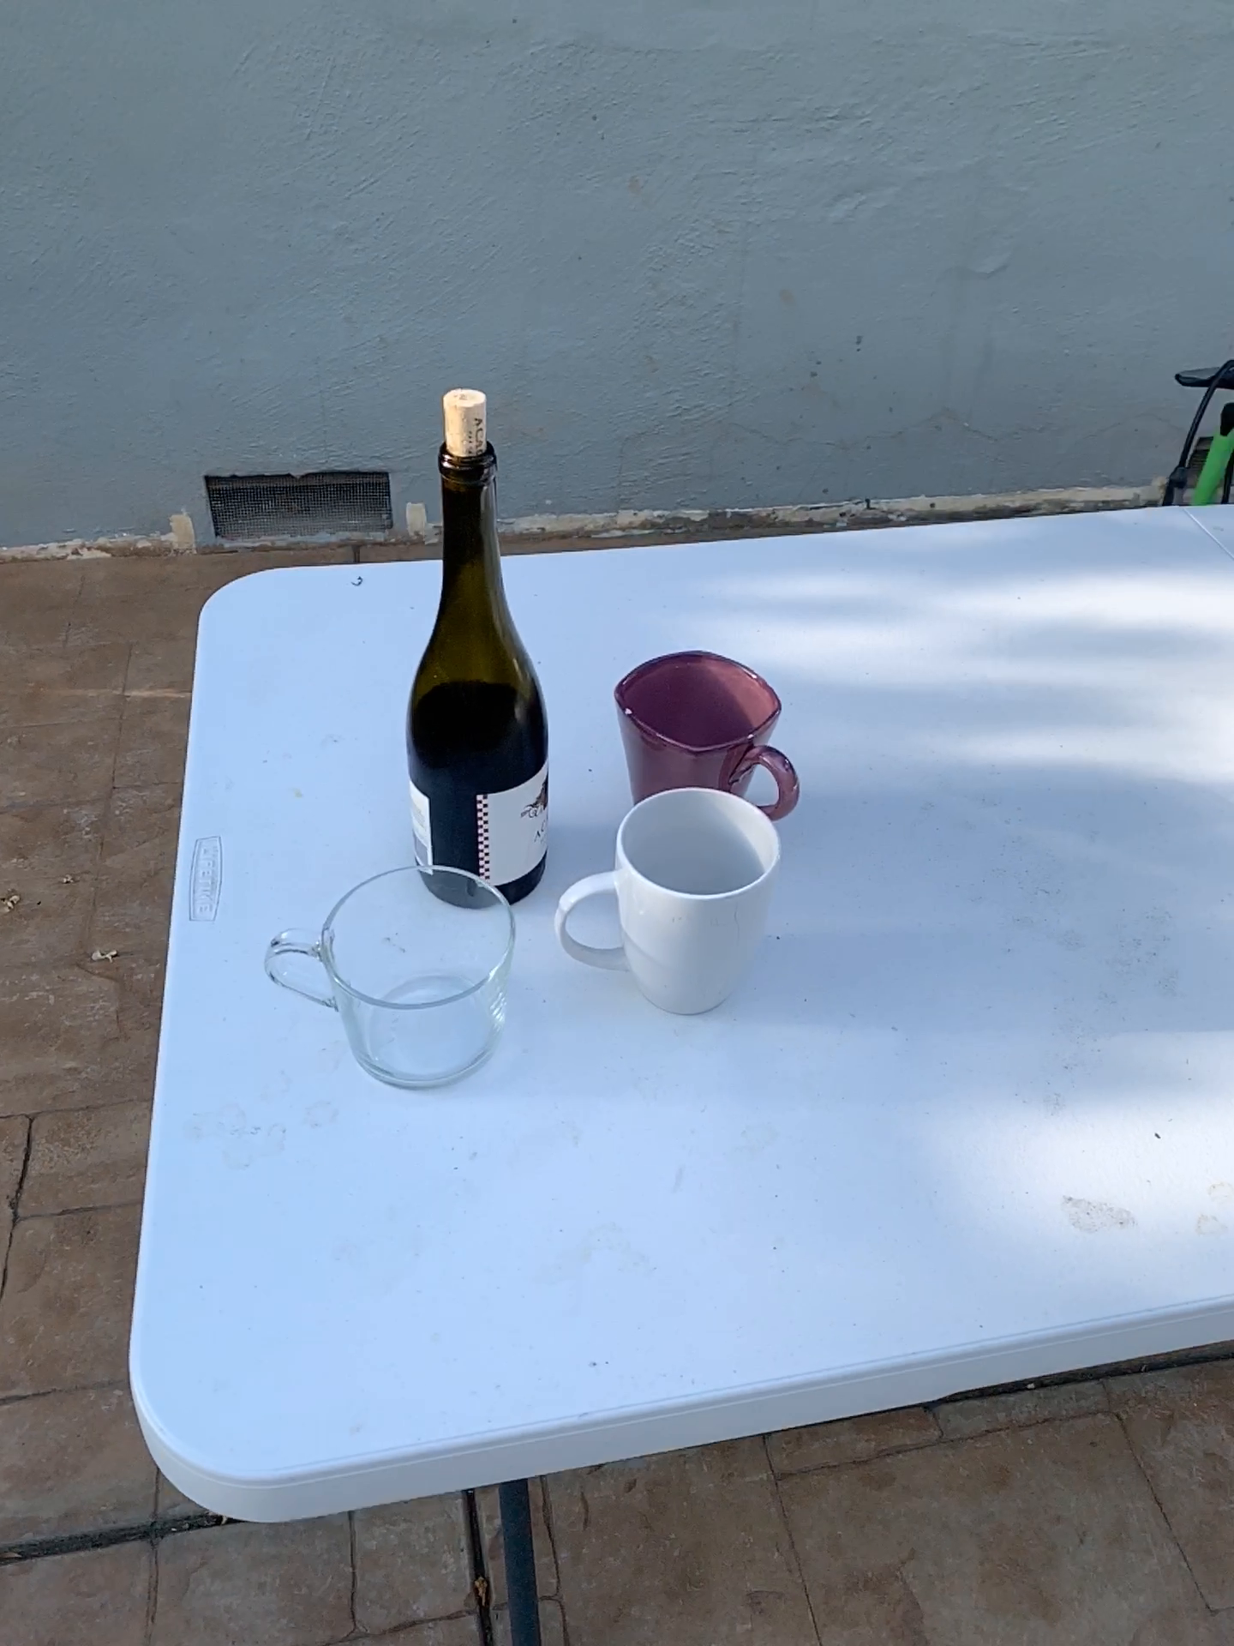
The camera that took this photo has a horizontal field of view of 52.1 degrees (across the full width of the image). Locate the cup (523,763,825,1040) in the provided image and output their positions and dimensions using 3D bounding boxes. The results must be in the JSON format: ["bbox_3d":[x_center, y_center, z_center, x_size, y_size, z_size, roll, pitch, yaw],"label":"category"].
[{"bbox_3d":[0.026,0.042,0.696,0.140,0.099,0.091,-7,41,-12],"label":"cup"}]

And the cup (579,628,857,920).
[{"bbox_3d":[0.059,-0.035,0.804,0.100,0.099,0.141,-26,48,-29],"label":"cup"}]

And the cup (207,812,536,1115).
[{"bbox_3d":[-0.126,0.073,0.677,0.140,0.089,0.090,15,42,14],"label":"cup"}]
